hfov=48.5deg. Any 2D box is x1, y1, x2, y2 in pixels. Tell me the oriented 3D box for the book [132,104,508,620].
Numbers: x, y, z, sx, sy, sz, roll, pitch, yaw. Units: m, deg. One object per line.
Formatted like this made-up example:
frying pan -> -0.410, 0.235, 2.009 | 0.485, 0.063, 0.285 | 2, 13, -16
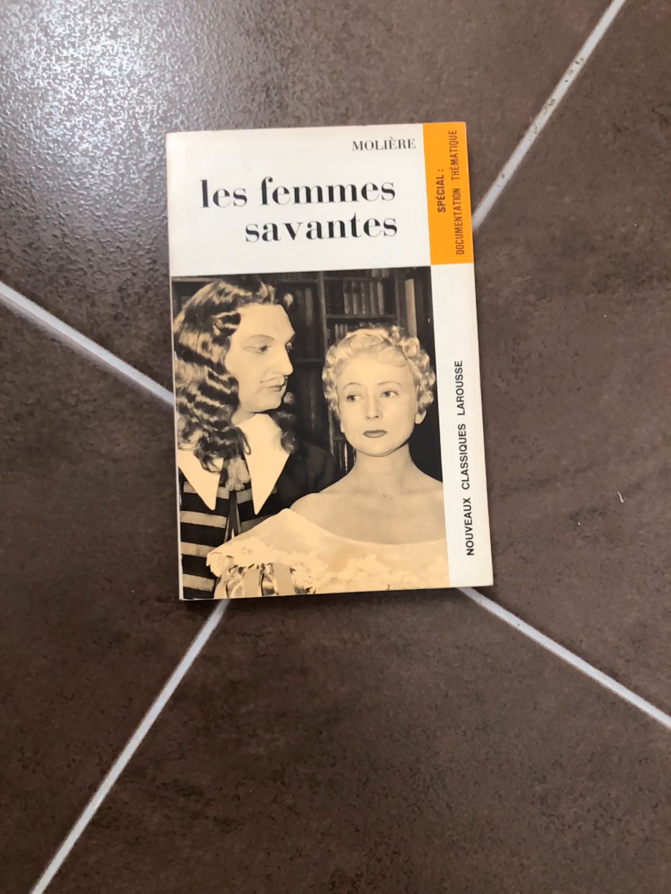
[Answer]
book -> -0.005, -0.029, 0.261 | 0.120, 0.020, 0.170 | -2, 90, -2
